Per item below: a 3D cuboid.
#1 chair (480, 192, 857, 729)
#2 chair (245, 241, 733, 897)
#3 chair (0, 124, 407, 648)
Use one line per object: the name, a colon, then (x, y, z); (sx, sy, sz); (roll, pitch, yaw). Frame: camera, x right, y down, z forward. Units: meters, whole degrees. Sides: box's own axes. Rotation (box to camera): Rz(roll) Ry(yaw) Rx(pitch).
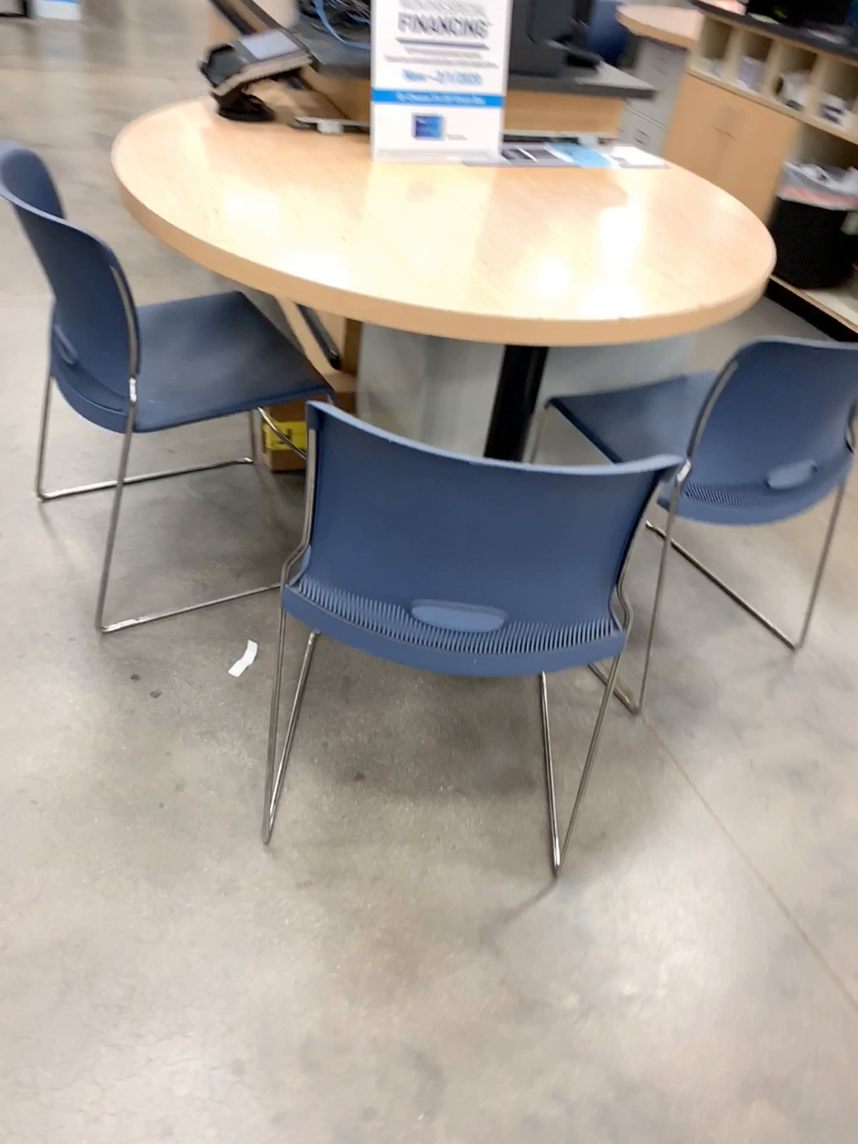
chair: (0.506, -0.220, 1.613); (0.484, 0.749, 0.533); (-15, 46, -28)
chair: (0.023, 0.010, 1.309); (0.483, 0.749, 0.554); (8, 39, -4)
chair: (-0.454, -0.358, 1.603); (0.572, 0.729, 0.485); (-16, 46, -29)
